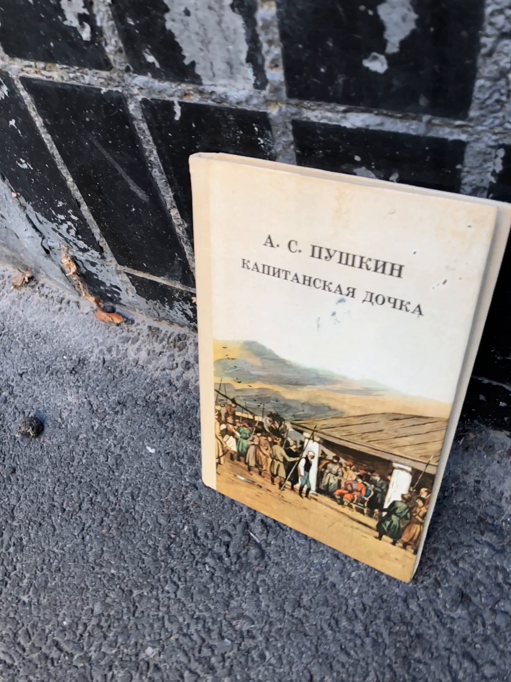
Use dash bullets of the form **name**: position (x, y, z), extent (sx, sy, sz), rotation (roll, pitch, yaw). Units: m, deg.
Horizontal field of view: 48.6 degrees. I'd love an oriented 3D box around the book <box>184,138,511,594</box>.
- **book**: position (0.032, 0.020, 0.291), extent (0.145, 0.215, 0.023), rotation (19, 36, 25)
